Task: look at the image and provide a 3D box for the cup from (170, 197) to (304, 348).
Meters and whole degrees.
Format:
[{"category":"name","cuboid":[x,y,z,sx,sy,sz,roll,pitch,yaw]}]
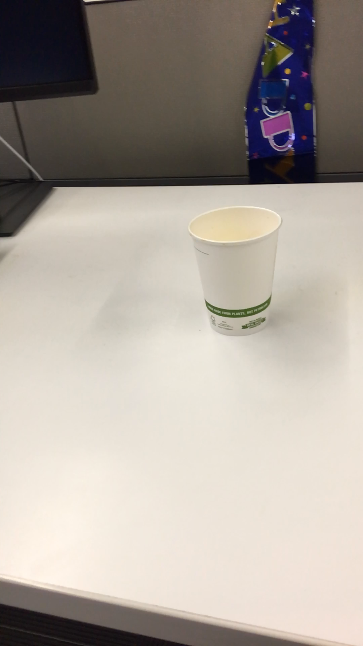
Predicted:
[{"category":"cup","cuboid":[0.054,-0.052,0.511,0.080,0.100,0.090,-29,38,-32]}]
